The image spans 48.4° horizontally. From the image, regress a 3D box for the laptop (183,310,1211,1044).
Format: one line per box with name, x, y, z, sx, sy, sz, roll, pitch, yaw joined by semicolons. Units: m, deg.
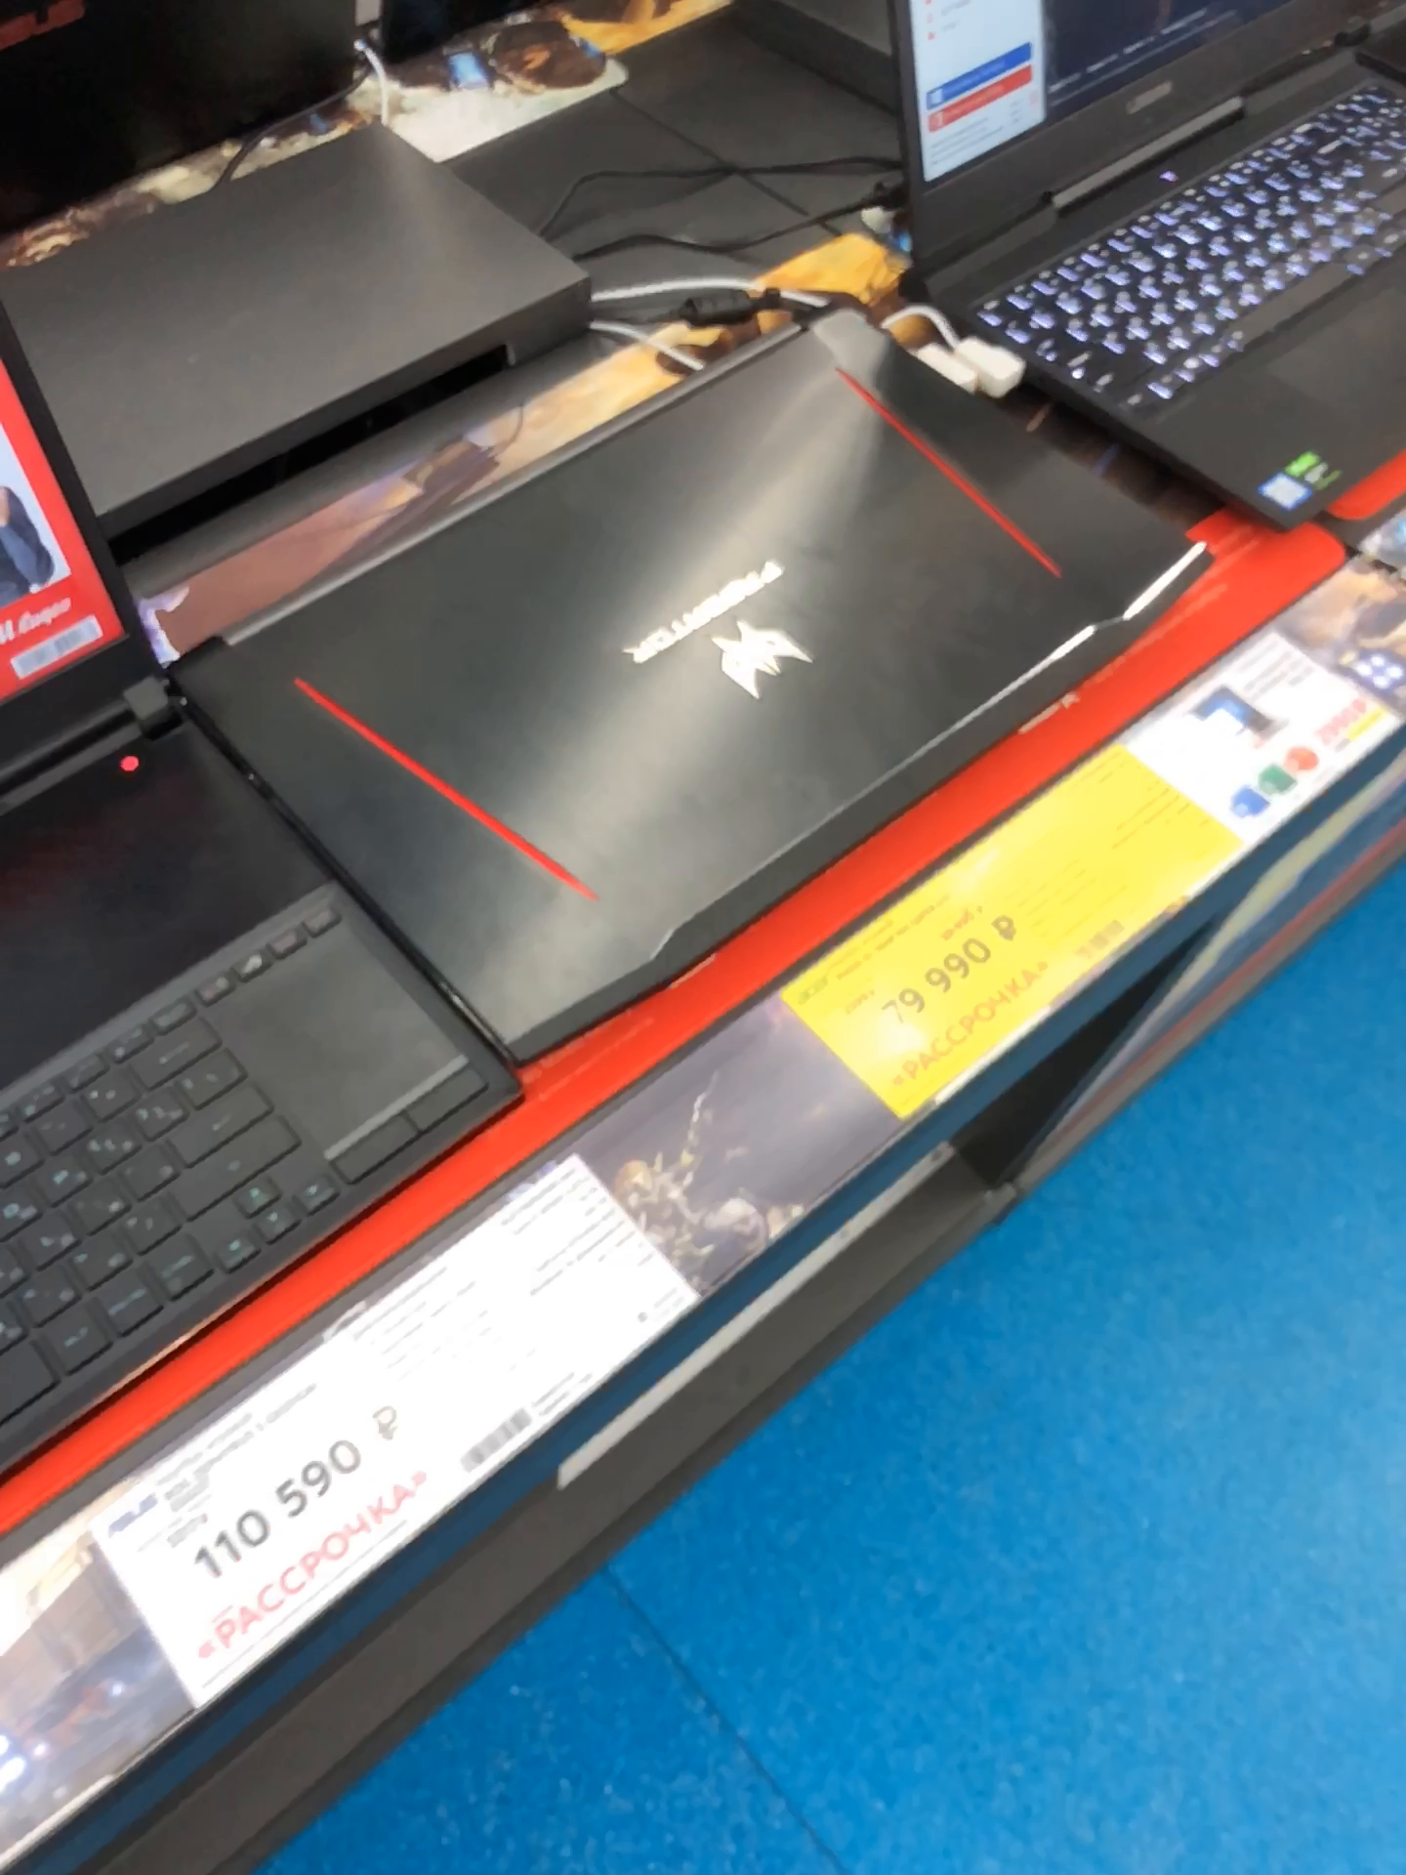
laptop;0.005;-0.138;0.662;0.378;0.004;0.228;-36;63;-22
